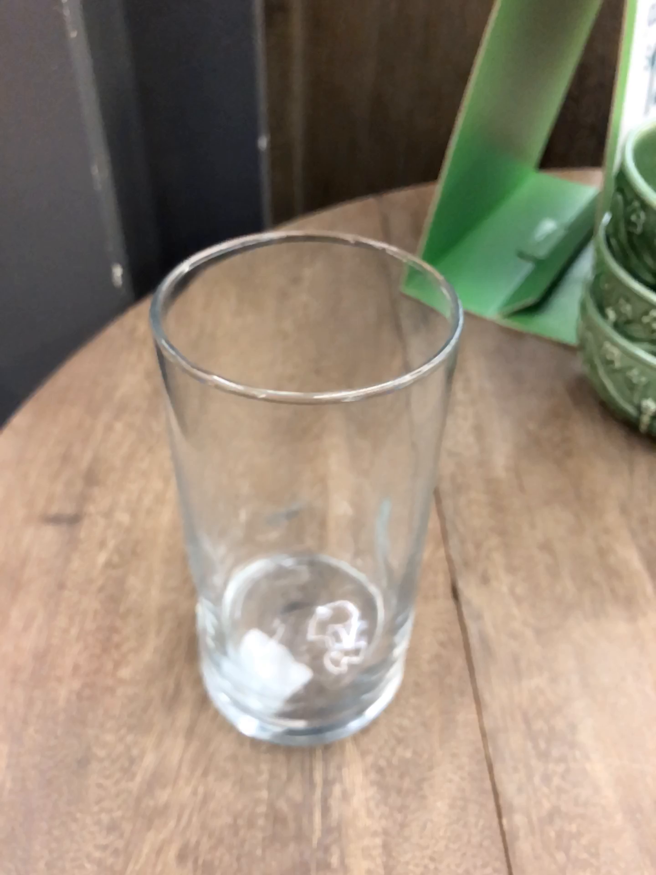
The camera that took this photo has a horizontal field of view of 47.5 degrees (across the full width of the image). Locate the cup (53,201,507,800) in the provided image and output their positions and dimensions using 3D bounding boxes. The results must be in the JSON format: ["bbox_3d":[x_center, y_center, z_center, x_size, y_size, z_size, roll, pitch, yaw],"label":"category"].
[{"bbox_3d":[-0.008,0.022,0.221,0.078,0.144,0.082,1,41,-1],"label":"cup"}]
